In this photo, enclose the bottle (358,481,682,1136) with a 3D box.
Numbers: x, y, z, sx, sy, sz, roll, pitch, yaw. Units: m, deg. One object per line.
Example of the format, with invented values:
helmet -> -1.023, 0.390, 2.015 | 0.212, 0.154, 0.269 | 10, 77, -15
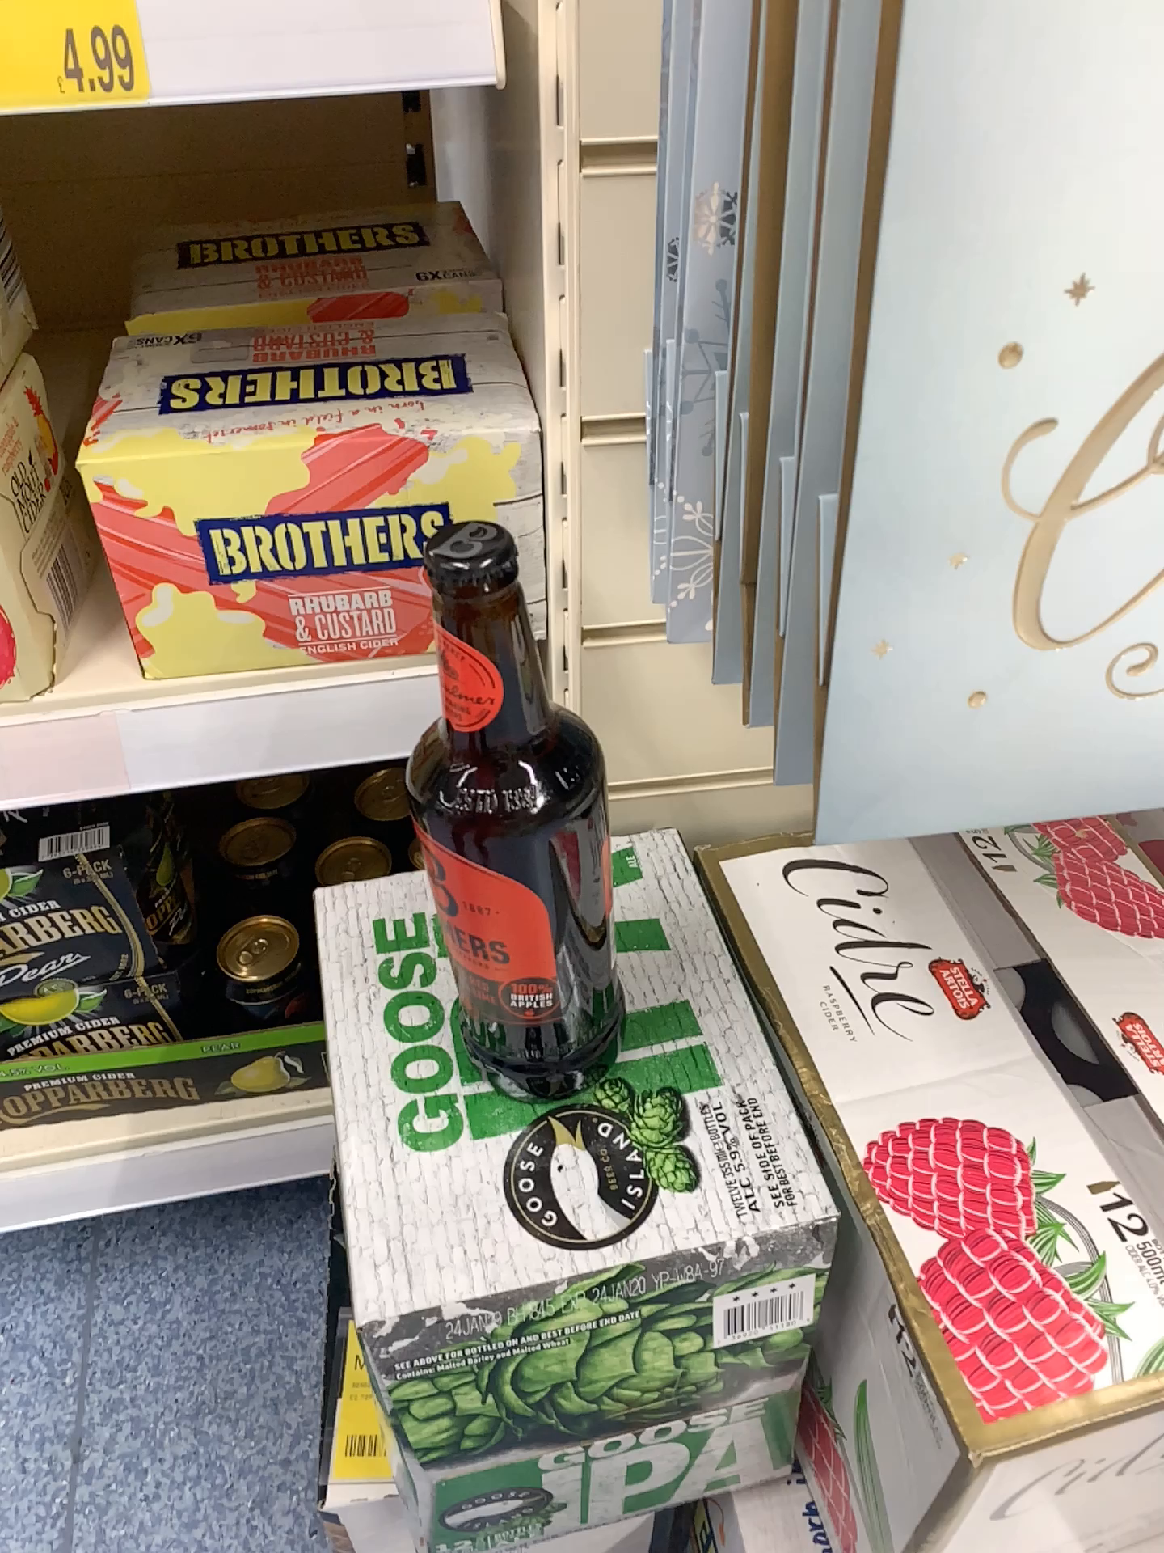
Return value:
bottle -> -0.016, 0.022, 0.438 | 0.070, 0.234, 0.070 | -1, 40, 1
